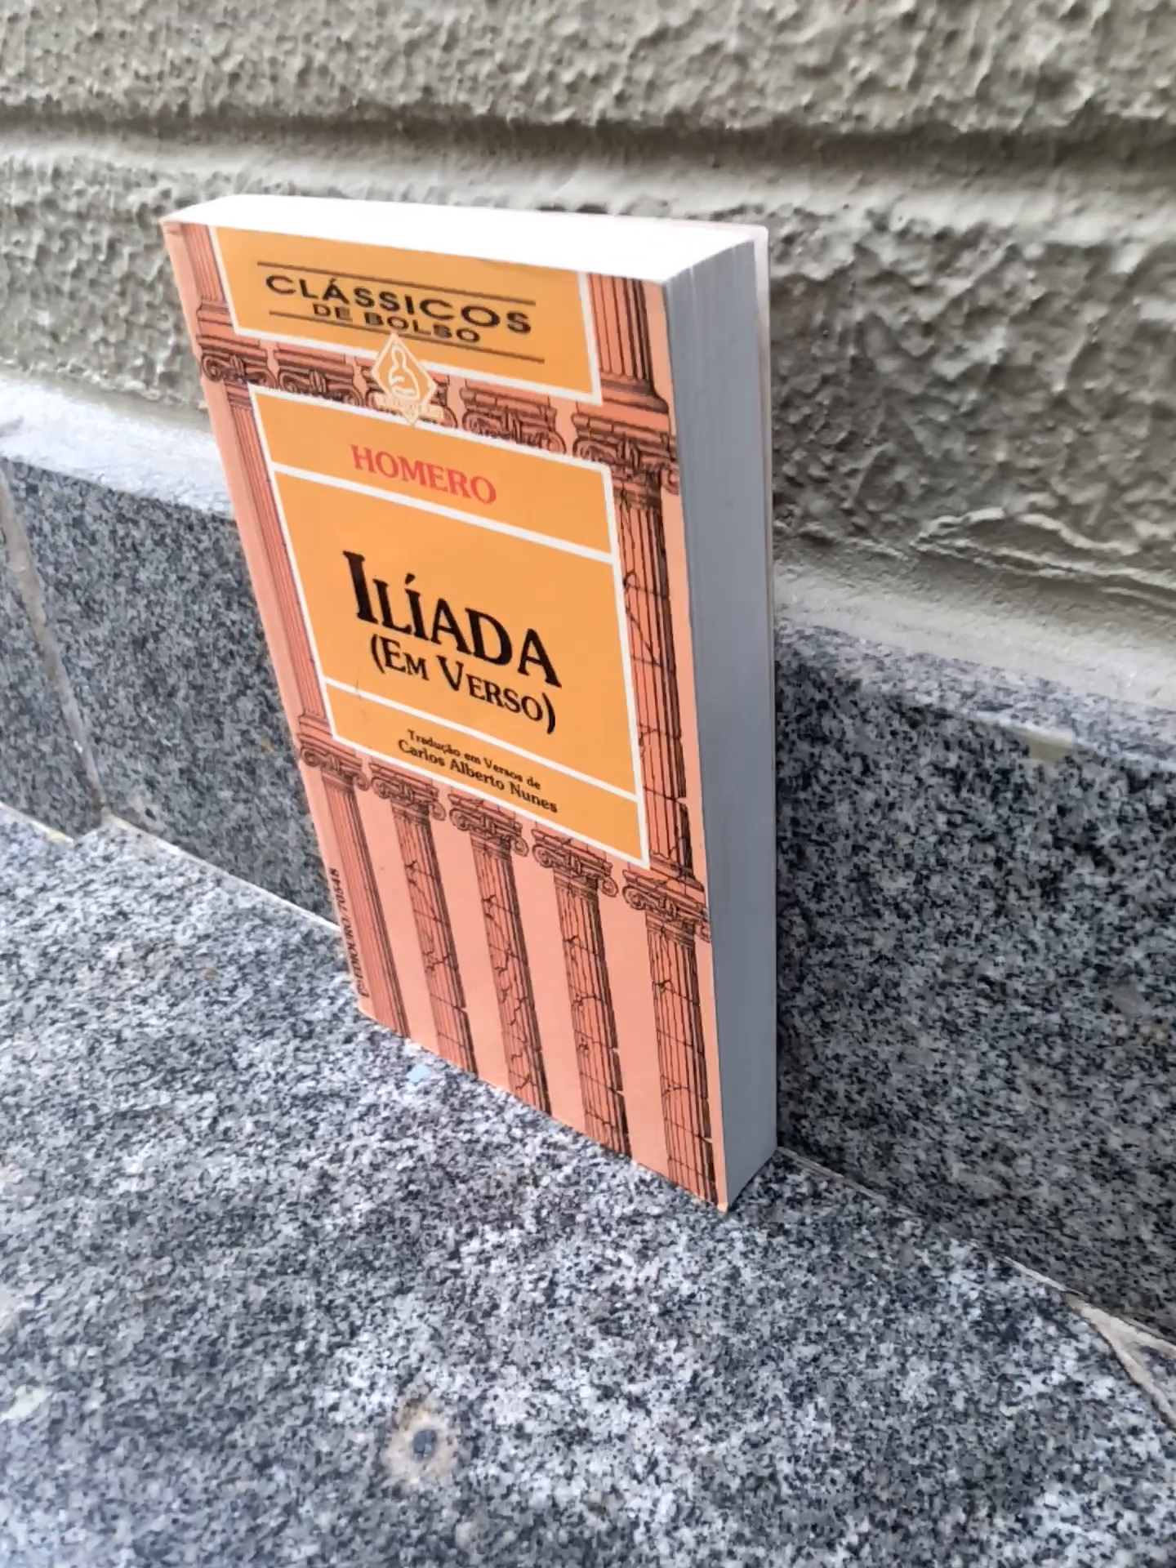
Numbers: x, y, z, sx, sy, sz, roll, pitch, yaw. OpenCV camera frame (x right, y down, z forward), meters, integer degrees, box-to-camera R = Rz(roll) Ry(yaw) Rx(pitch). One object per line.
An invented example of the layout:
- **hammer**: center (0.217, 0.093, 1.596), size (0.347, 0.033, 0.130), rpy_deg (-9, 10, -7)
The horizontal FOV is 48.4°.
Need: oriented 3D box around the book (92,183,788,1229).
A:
- **book**: center (-0.024, -0.011, 0.295), size (0.139, 0.218, 0.030), rpy_deg (20, 43, 32)
